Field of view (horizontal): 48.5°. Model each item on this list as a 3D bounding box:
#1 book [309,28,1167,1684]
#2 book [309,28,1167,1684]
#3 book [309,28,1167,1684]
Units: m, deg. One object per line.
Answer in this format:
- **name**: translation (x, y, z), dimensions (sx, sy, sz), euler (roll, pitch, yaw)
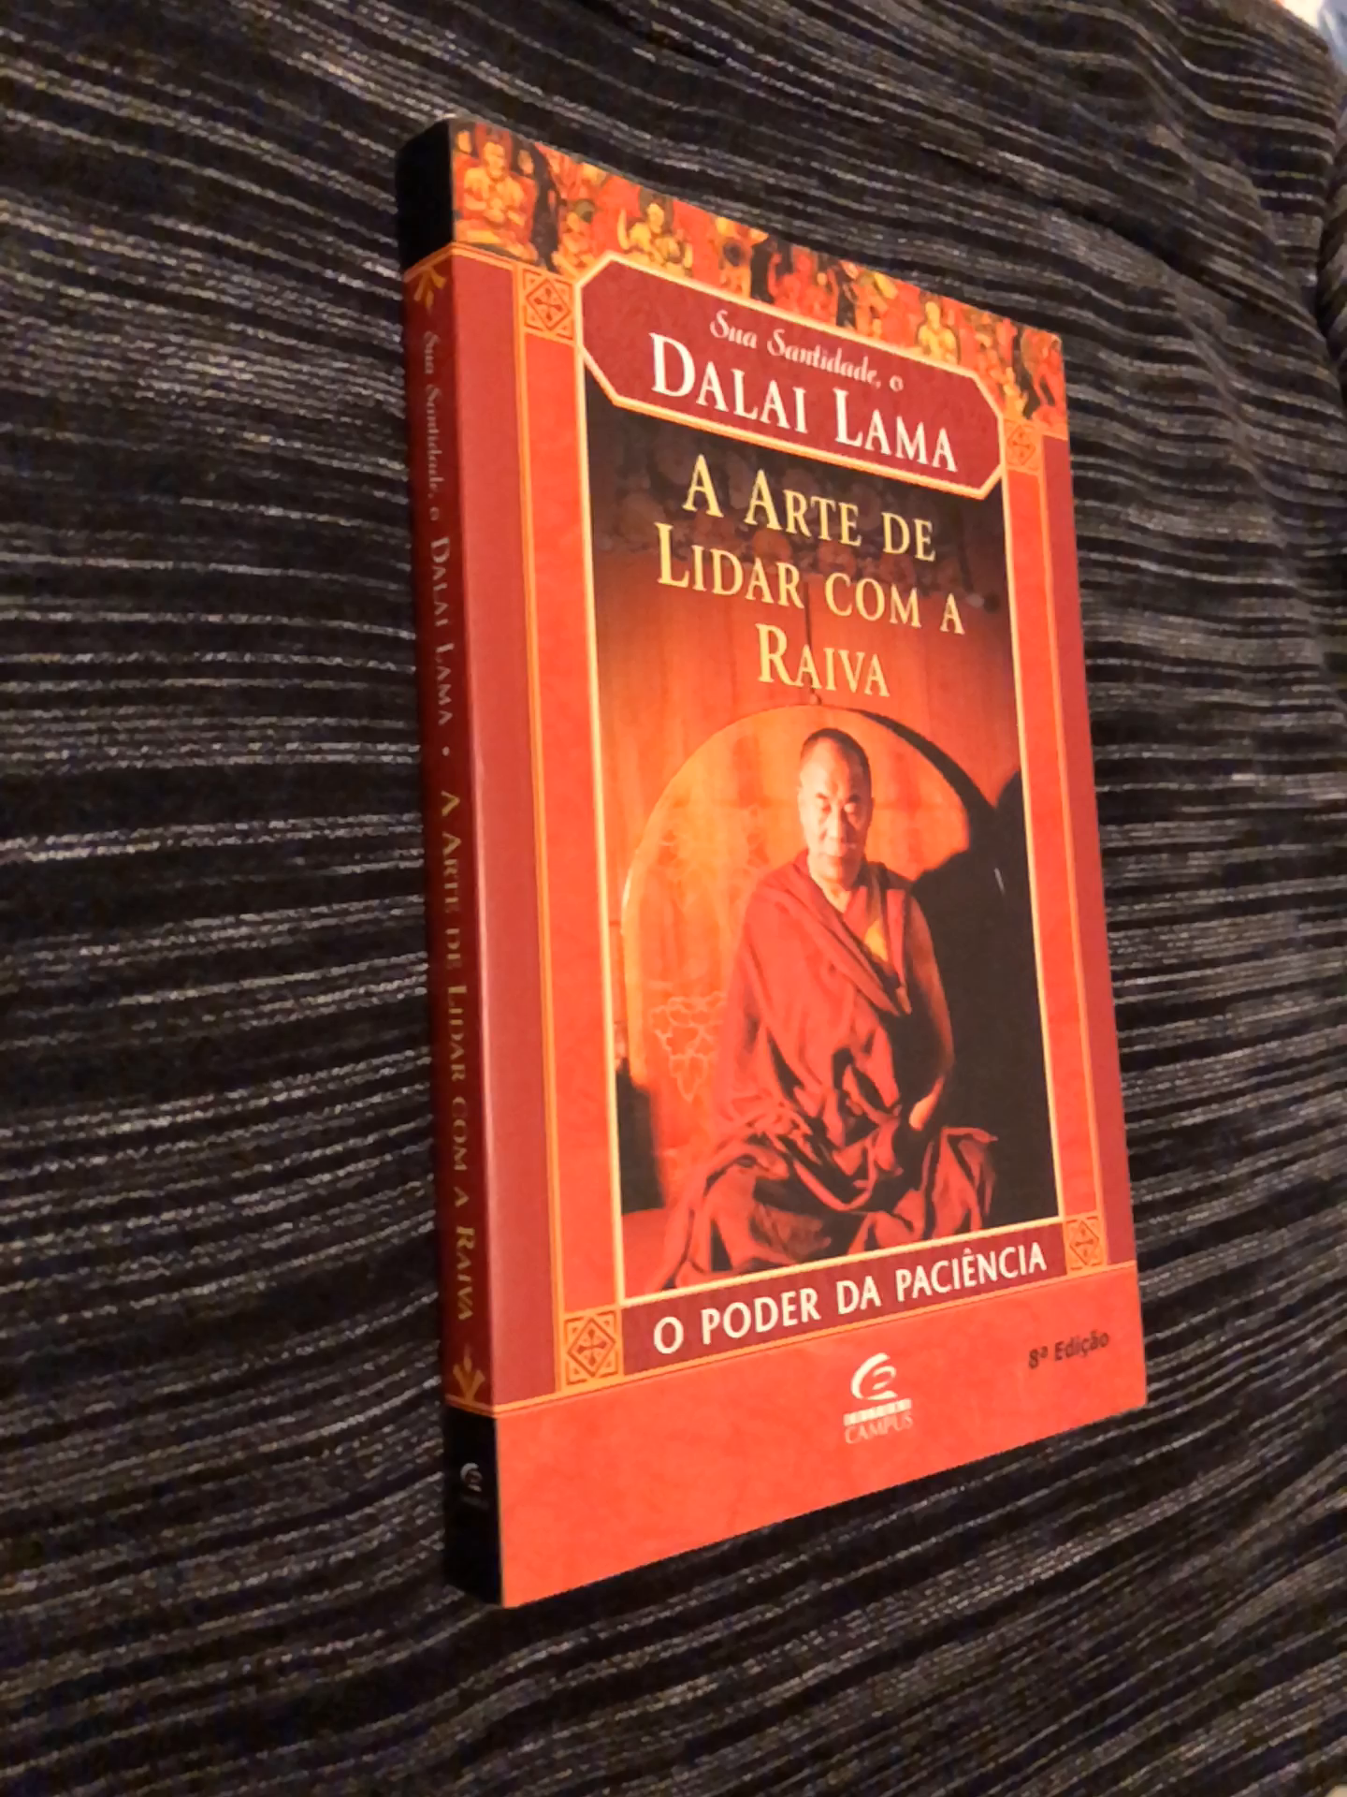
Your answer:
- **book**: translation (0.019, -0.009, 0.256), dimensions (0.151, 0.030, 0.220), euler (0, 84, -39)
- **book**: translation (0.019, -0.009, 0.256), dimensions (0.151, 0.030, 0.220), euler (0, 84, -39)
- **book**: translation (0.019, -0.009, 0.256), dimensions (0.151, 0.030, 0.220), euler (0, 84, -39)
